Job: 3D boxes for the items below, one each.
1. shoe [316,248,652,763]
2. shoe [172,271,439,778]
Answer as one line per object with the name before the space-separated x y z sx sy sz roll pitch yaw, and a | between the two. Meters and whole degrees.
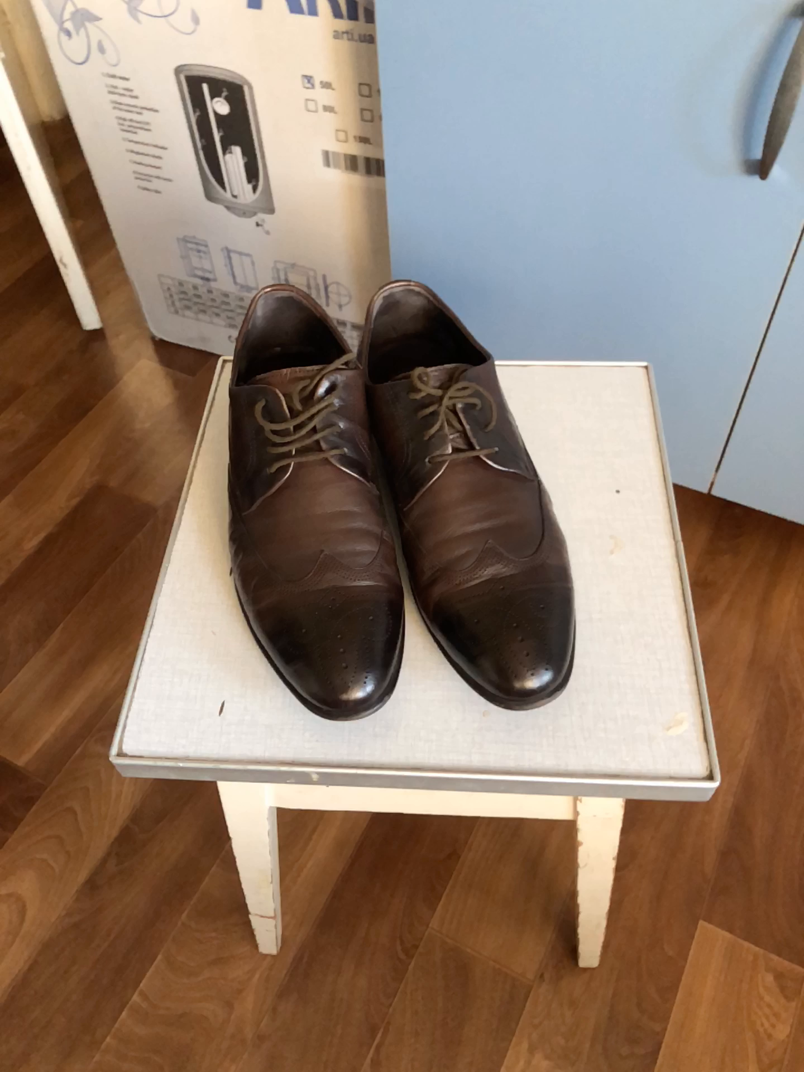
shoe | 0.030 -0.034 0.516 0.100 0.099 0.292 -12 53 -7
shoe | -0.064 -0.022 0.529 0.100 0.099 0.292 -12 53 -7
